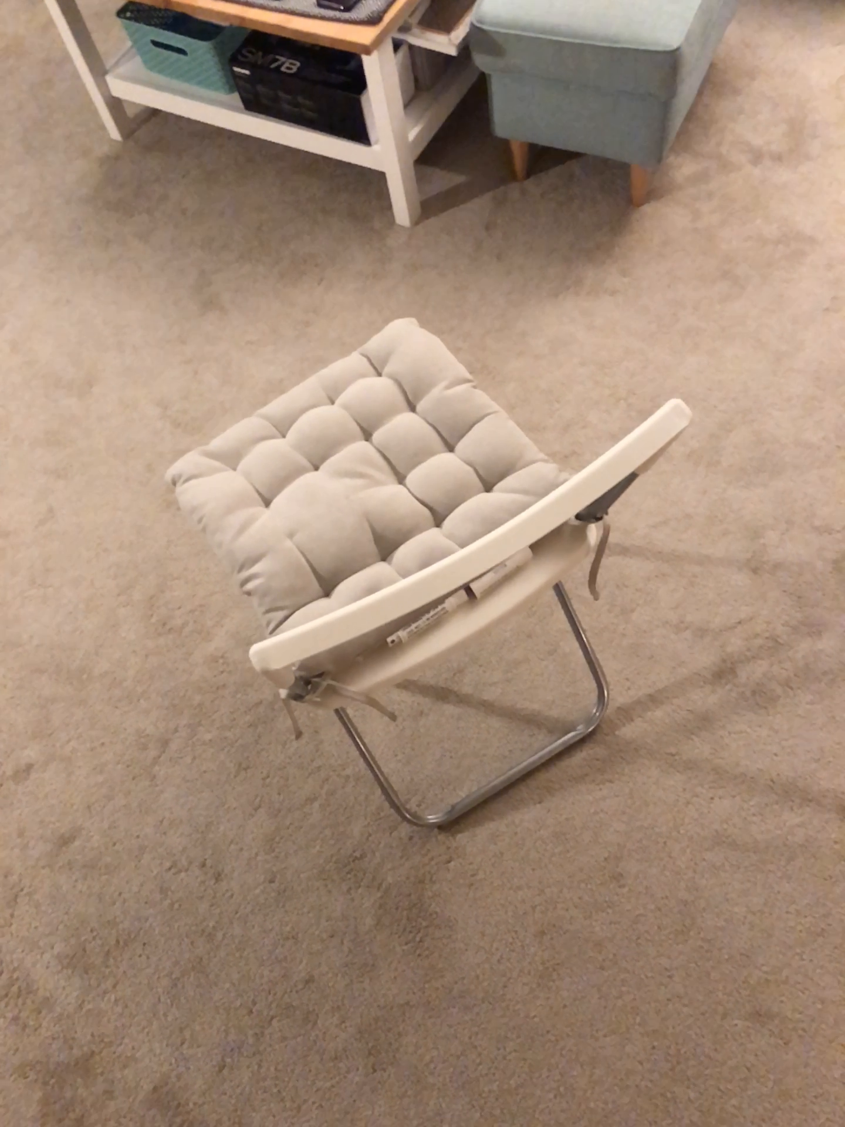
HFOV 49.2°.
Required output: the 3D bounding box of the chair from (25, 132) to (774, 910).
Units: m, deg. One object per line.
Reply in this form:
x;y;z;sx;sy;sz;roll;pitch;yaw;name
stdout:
-0.013;-0.002;1.161;0.510;0.668;0.541;-31;61;-9;chair
